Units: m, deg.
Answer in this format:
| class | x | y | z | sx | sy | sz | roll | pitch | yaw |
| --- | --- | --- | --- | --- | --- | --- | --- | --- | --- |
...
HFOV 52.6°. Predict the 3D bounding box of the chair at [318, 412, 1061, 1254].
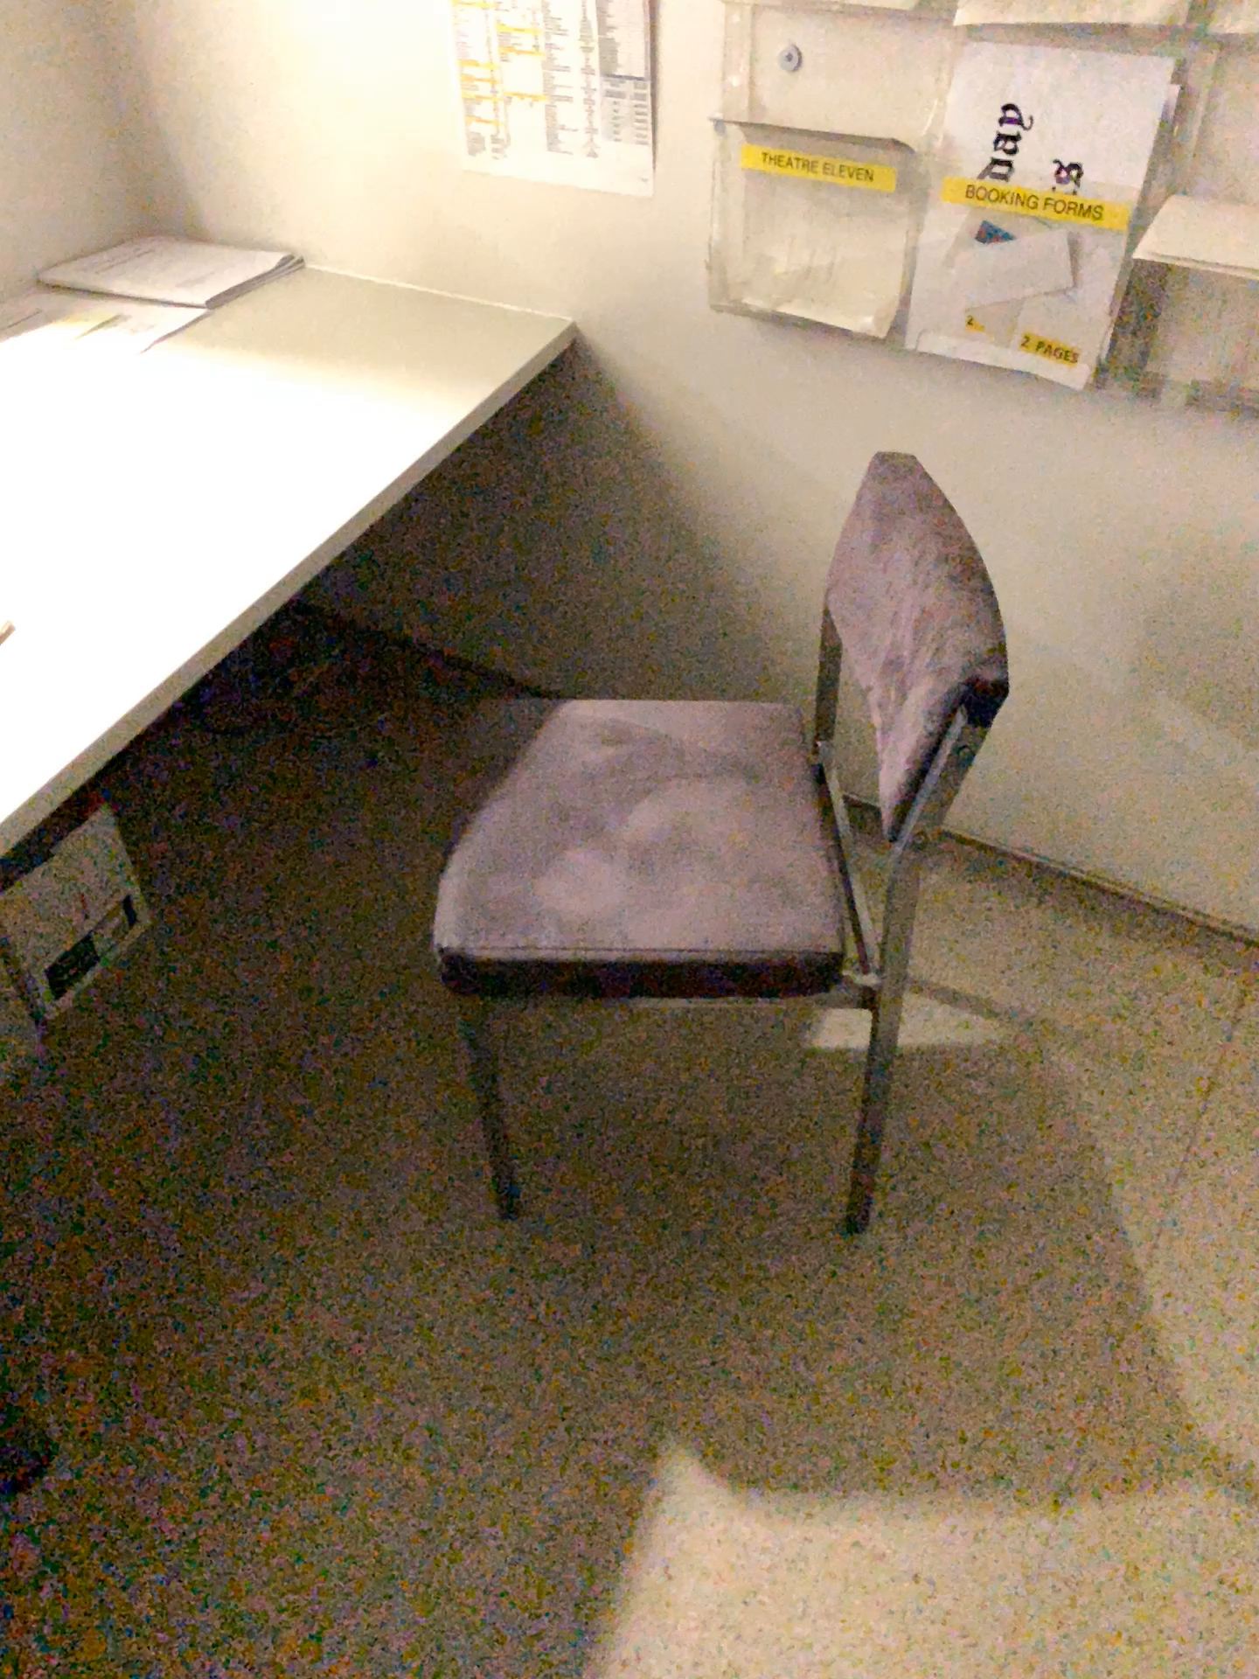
| class | x | y | z | sx | sy | sz | roll | pitch | yaw |
| --- | --- | --- | --- | --- | --- | --- | --- | --- | --- |
| chair | 0.053 | -0.001 | 1.356 | 0.540 | 0.693 | 0.545 | -1 | 40 | 1 |
